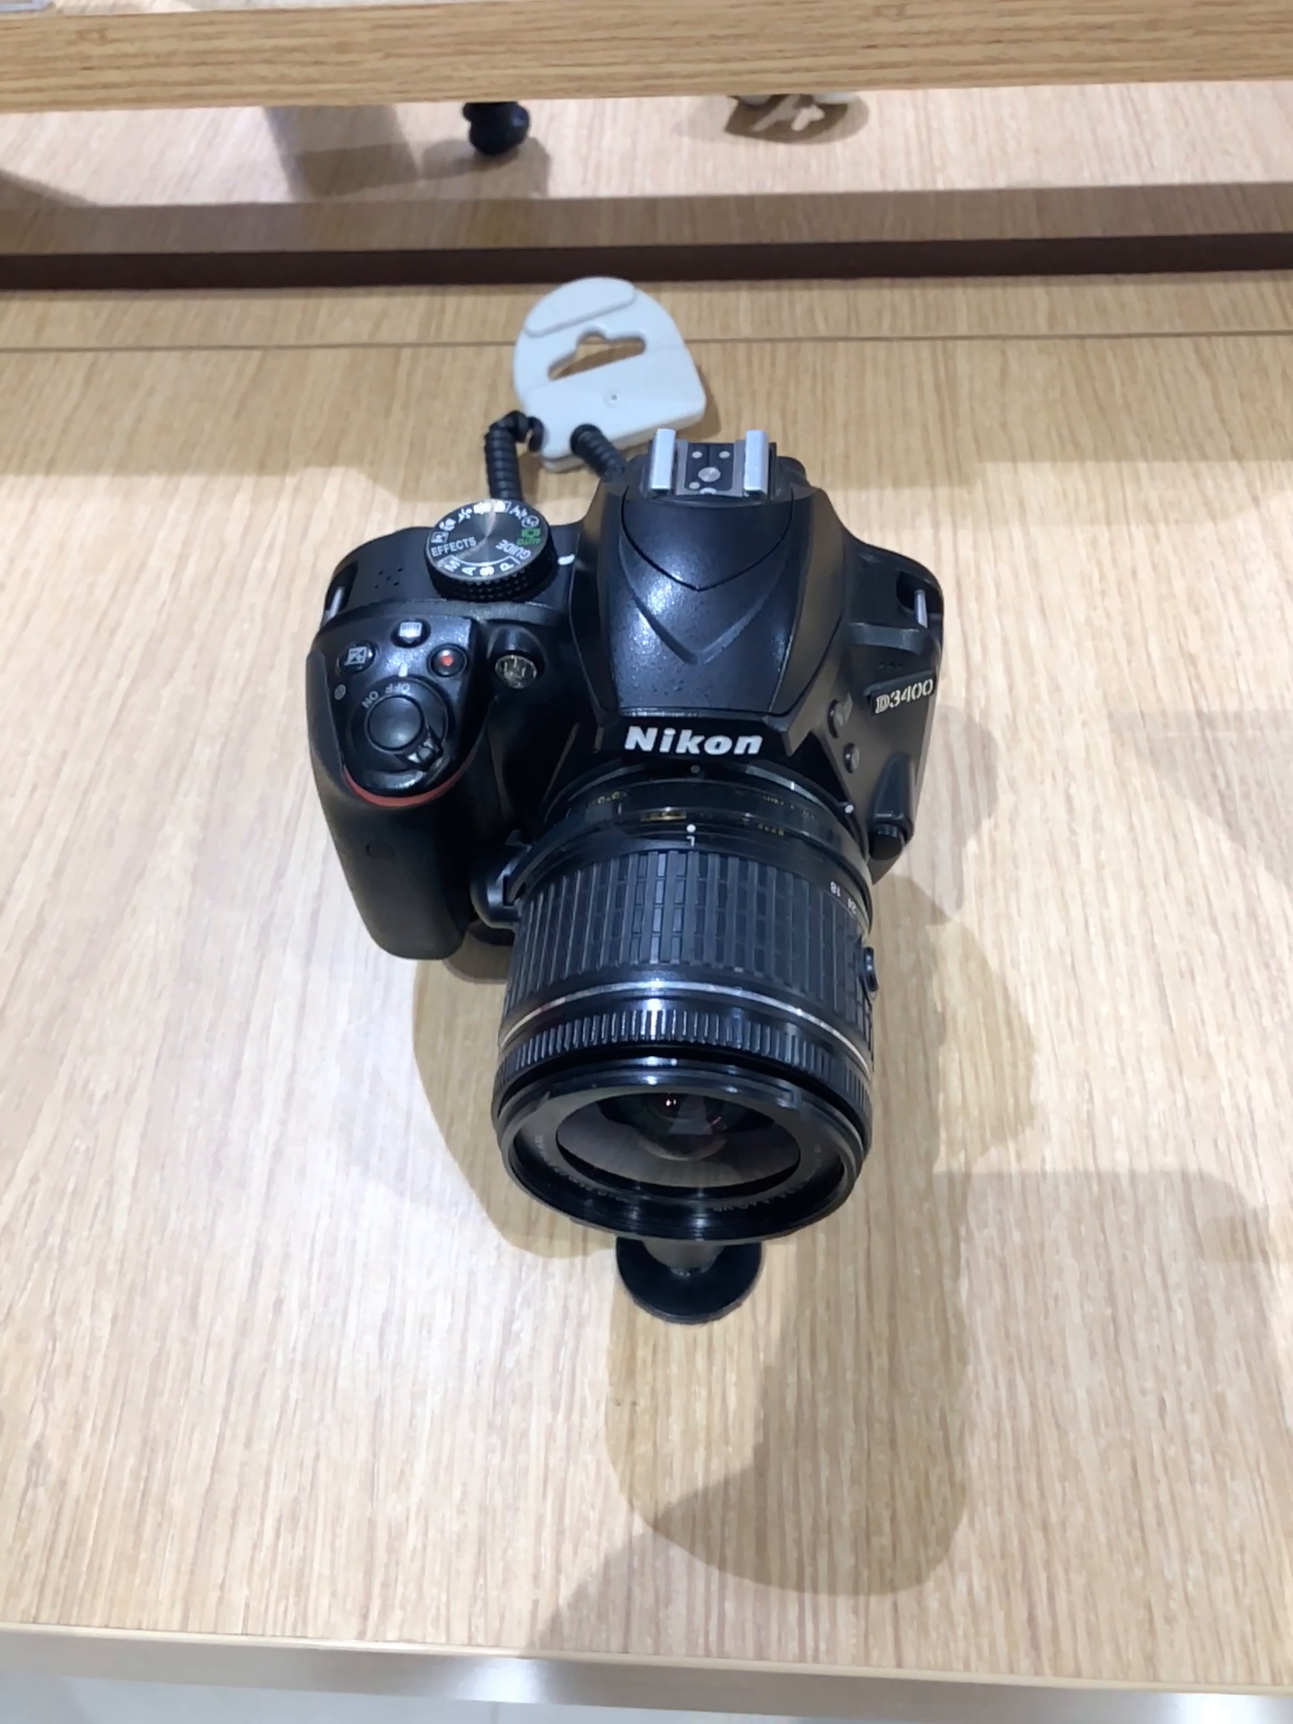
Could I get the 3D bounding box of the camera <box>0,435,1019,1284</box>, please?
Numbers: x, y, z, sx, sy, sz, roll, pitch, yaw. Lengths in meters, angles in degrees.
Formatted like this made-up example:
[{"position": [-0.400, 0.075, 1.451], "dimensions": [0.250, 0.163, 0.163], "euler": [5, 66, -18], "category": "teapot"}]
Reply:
[{"position": [-0.015, -0.002, 0.254], "dimensions": [0.133, 0.084, 0.121], "euler": [1, 53, 4], "category": "camera"}]
